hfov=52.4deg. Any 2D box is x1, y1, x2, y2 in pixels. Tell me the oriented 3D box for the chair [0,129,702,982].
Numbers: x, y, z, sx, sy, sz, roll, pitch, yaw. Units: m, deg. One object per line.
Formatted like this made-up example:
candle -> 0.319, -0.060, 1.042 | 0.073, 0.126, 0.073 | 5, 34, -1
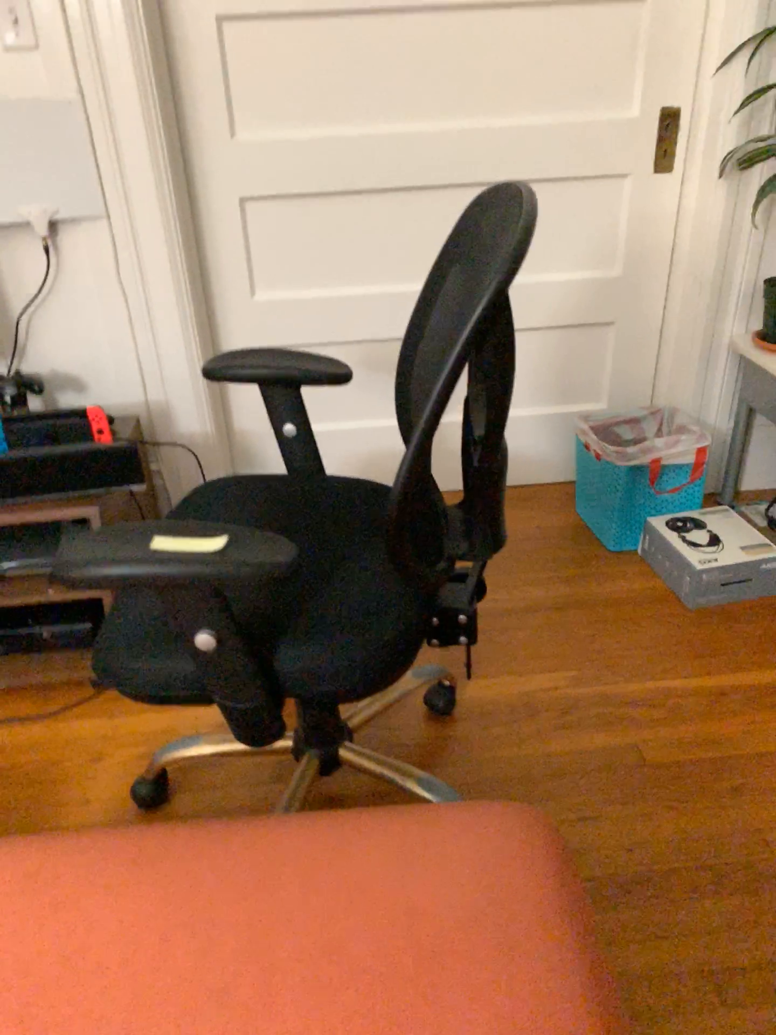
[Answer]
chair -> -0.079, 0.028, 1.138 | 0.660, 0.974, 0.644 | 5, 31, 4
